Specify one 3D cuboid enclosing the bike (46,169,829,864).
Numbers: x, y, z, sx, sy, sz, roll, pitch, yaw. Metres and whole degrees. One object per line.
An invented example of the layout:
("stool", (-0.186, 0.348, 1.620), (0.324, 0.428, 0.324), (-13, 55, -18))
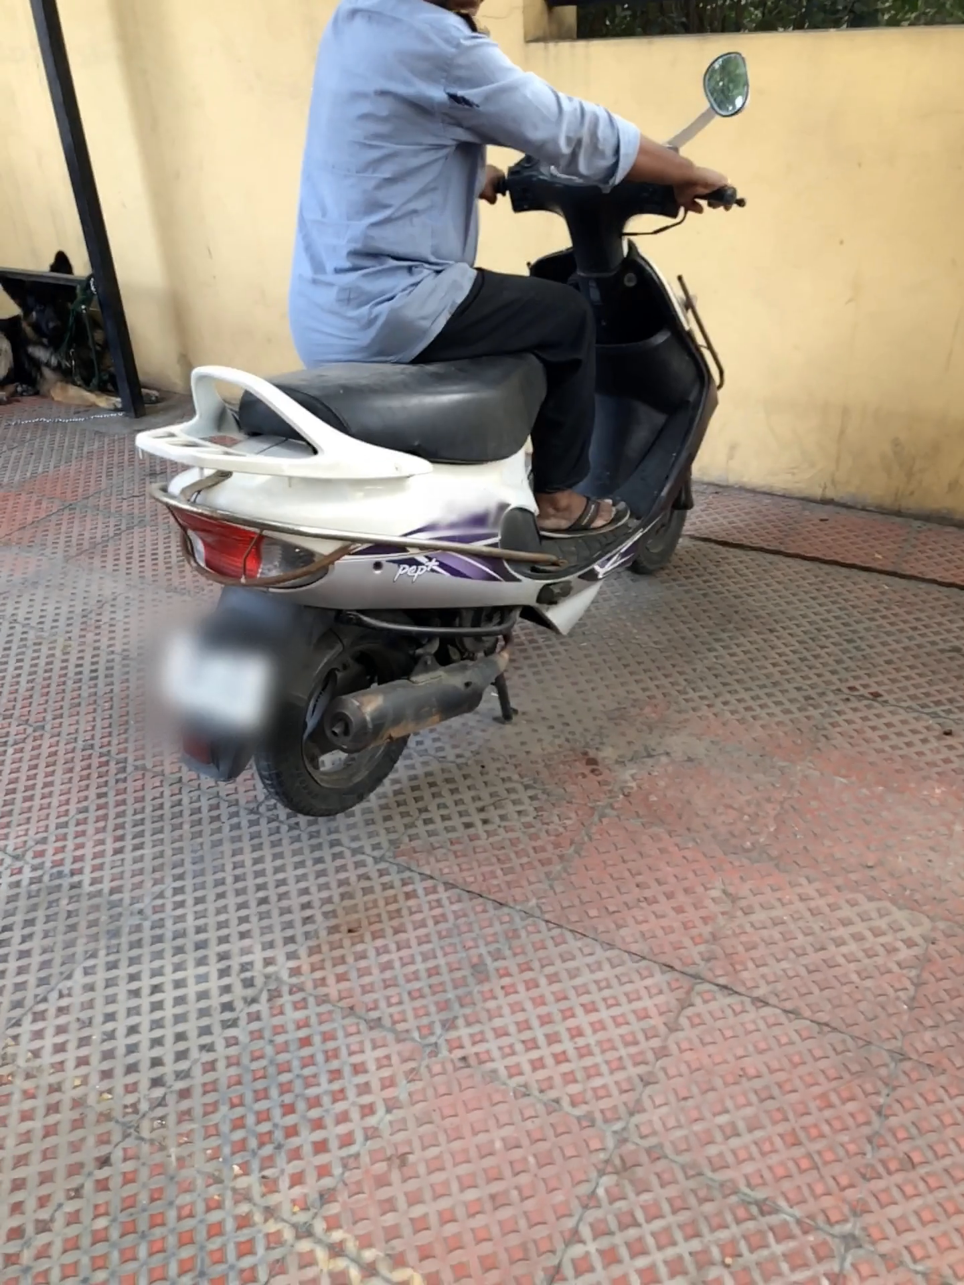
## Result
("bike", (0.092, -0.427, 2.157), (0.598, 0.816, 1.619), (18, 35, 31))
